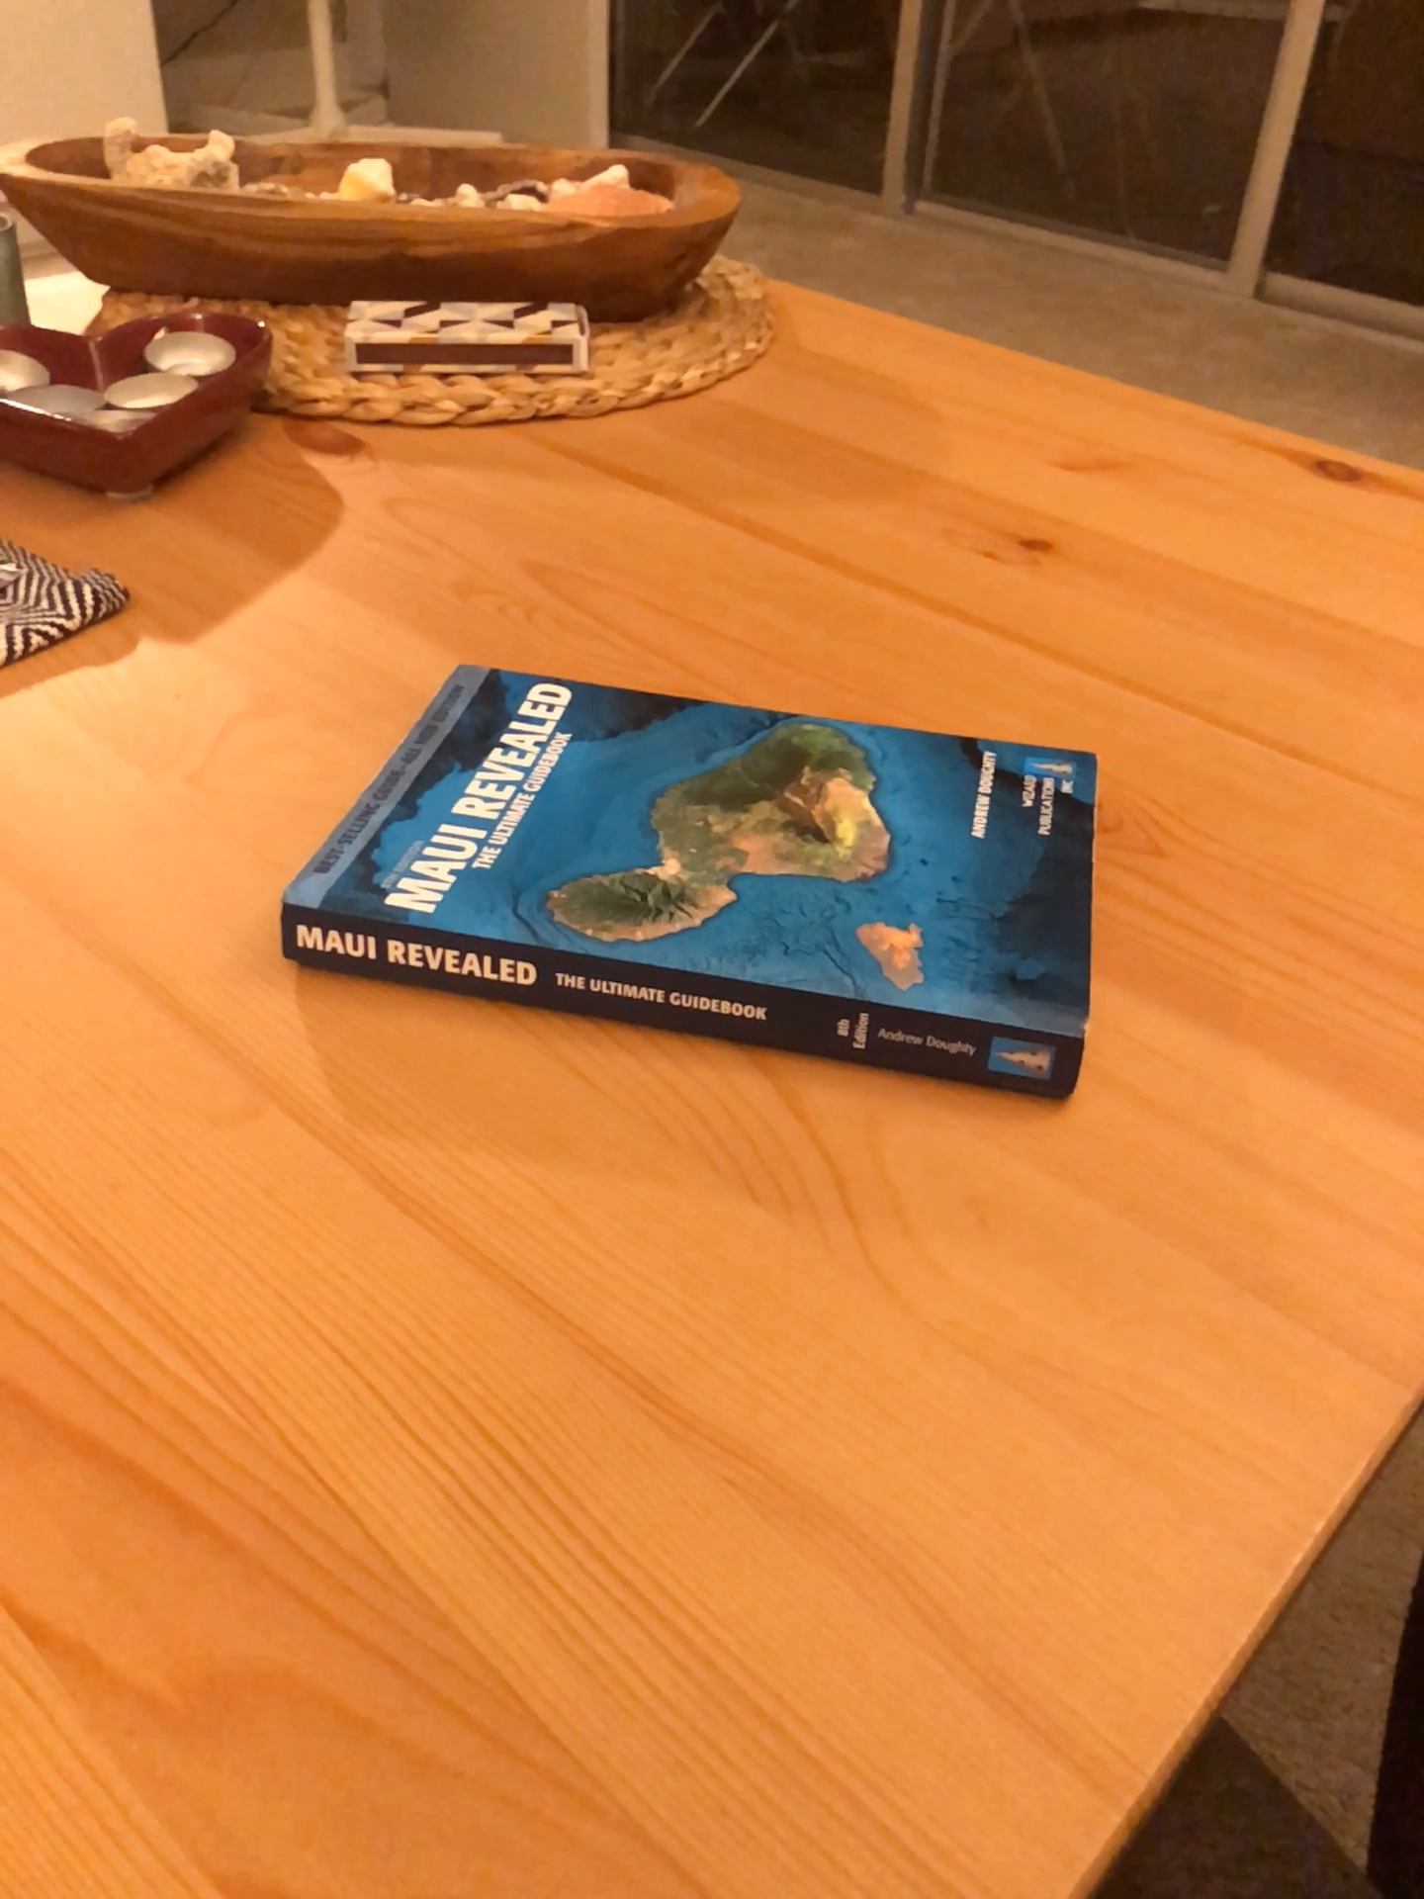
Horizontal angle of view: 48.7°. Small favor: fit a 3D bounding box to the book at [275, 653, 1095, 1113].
[{"bbox_3d":[0.004,-0.028,0.439,0.200,0.020,0.147,10,36,6],"label":"book"}]
